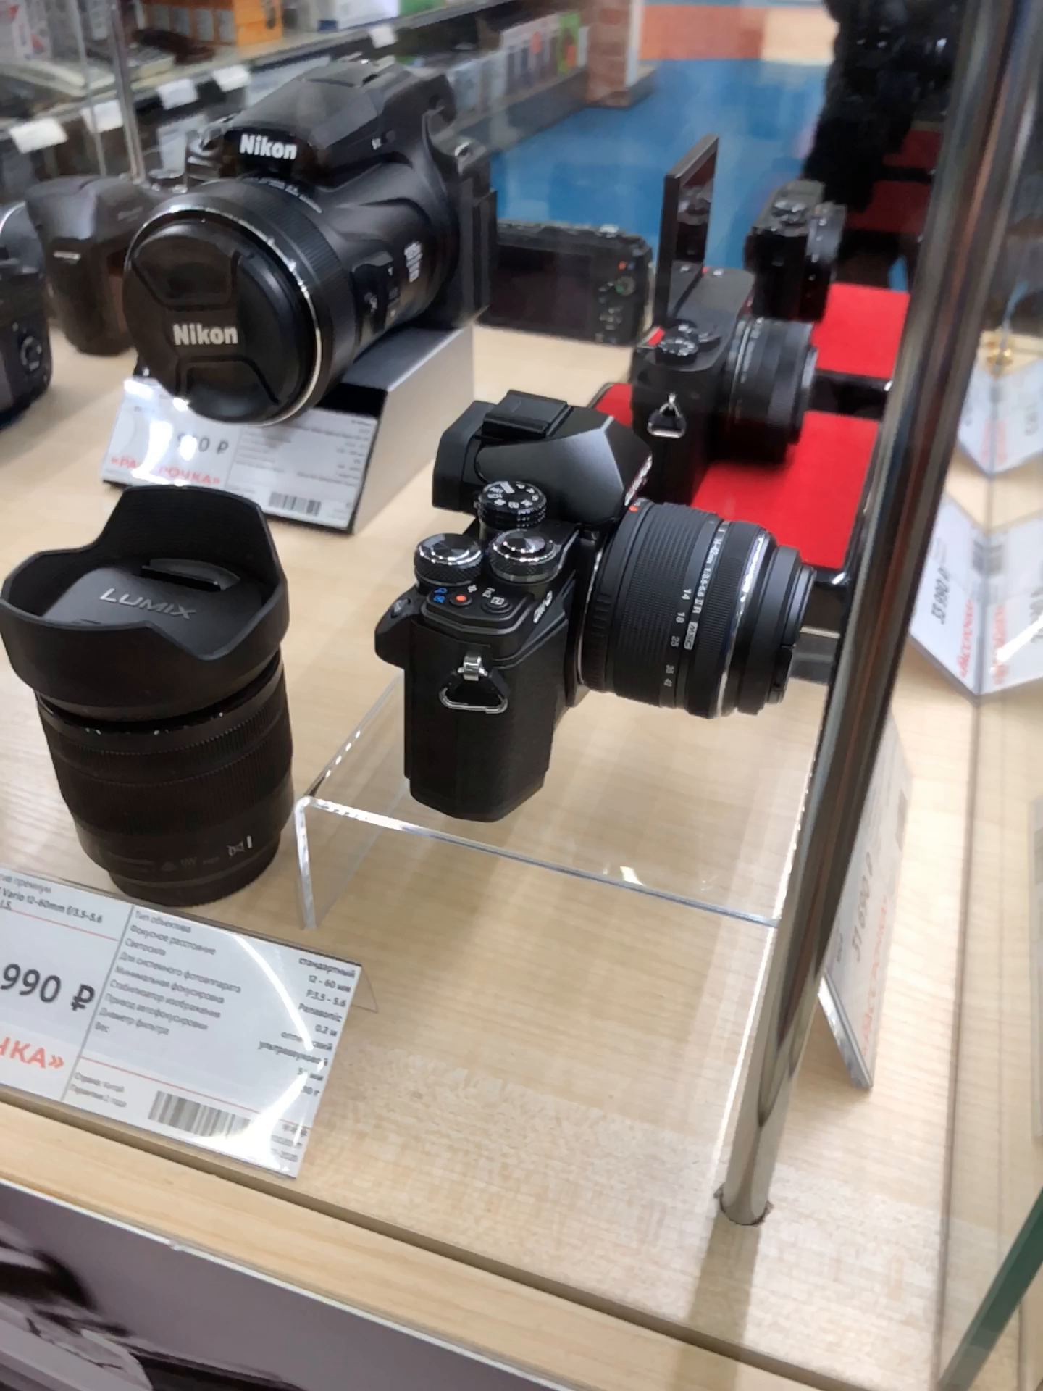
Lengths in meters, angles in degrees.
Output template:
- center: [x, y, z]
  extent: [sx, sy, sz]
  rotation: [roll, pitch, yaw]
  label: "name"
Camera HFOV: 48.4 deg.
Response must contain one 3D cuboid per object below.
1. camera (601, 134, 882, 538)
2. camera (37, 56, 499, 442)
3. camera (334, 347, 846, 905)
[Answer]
- center: [0.085, -0.142, 0.445]
  extent: [0.072, 0.109, 0.118]
  rotation: [13, 37, 15]
  label: "camera"
- center: [-0.097, -0.209, 0.519]
  extent: [0.104, 0.109, 0.186]
  rotation: [16, 38, 19]
  label: "camera"
- center: [0.024, -0.027, 0.321]
  extent: [0.101, 0.088, 0.118]
  rotation: [13, 37, 15]
  label: "camera"
